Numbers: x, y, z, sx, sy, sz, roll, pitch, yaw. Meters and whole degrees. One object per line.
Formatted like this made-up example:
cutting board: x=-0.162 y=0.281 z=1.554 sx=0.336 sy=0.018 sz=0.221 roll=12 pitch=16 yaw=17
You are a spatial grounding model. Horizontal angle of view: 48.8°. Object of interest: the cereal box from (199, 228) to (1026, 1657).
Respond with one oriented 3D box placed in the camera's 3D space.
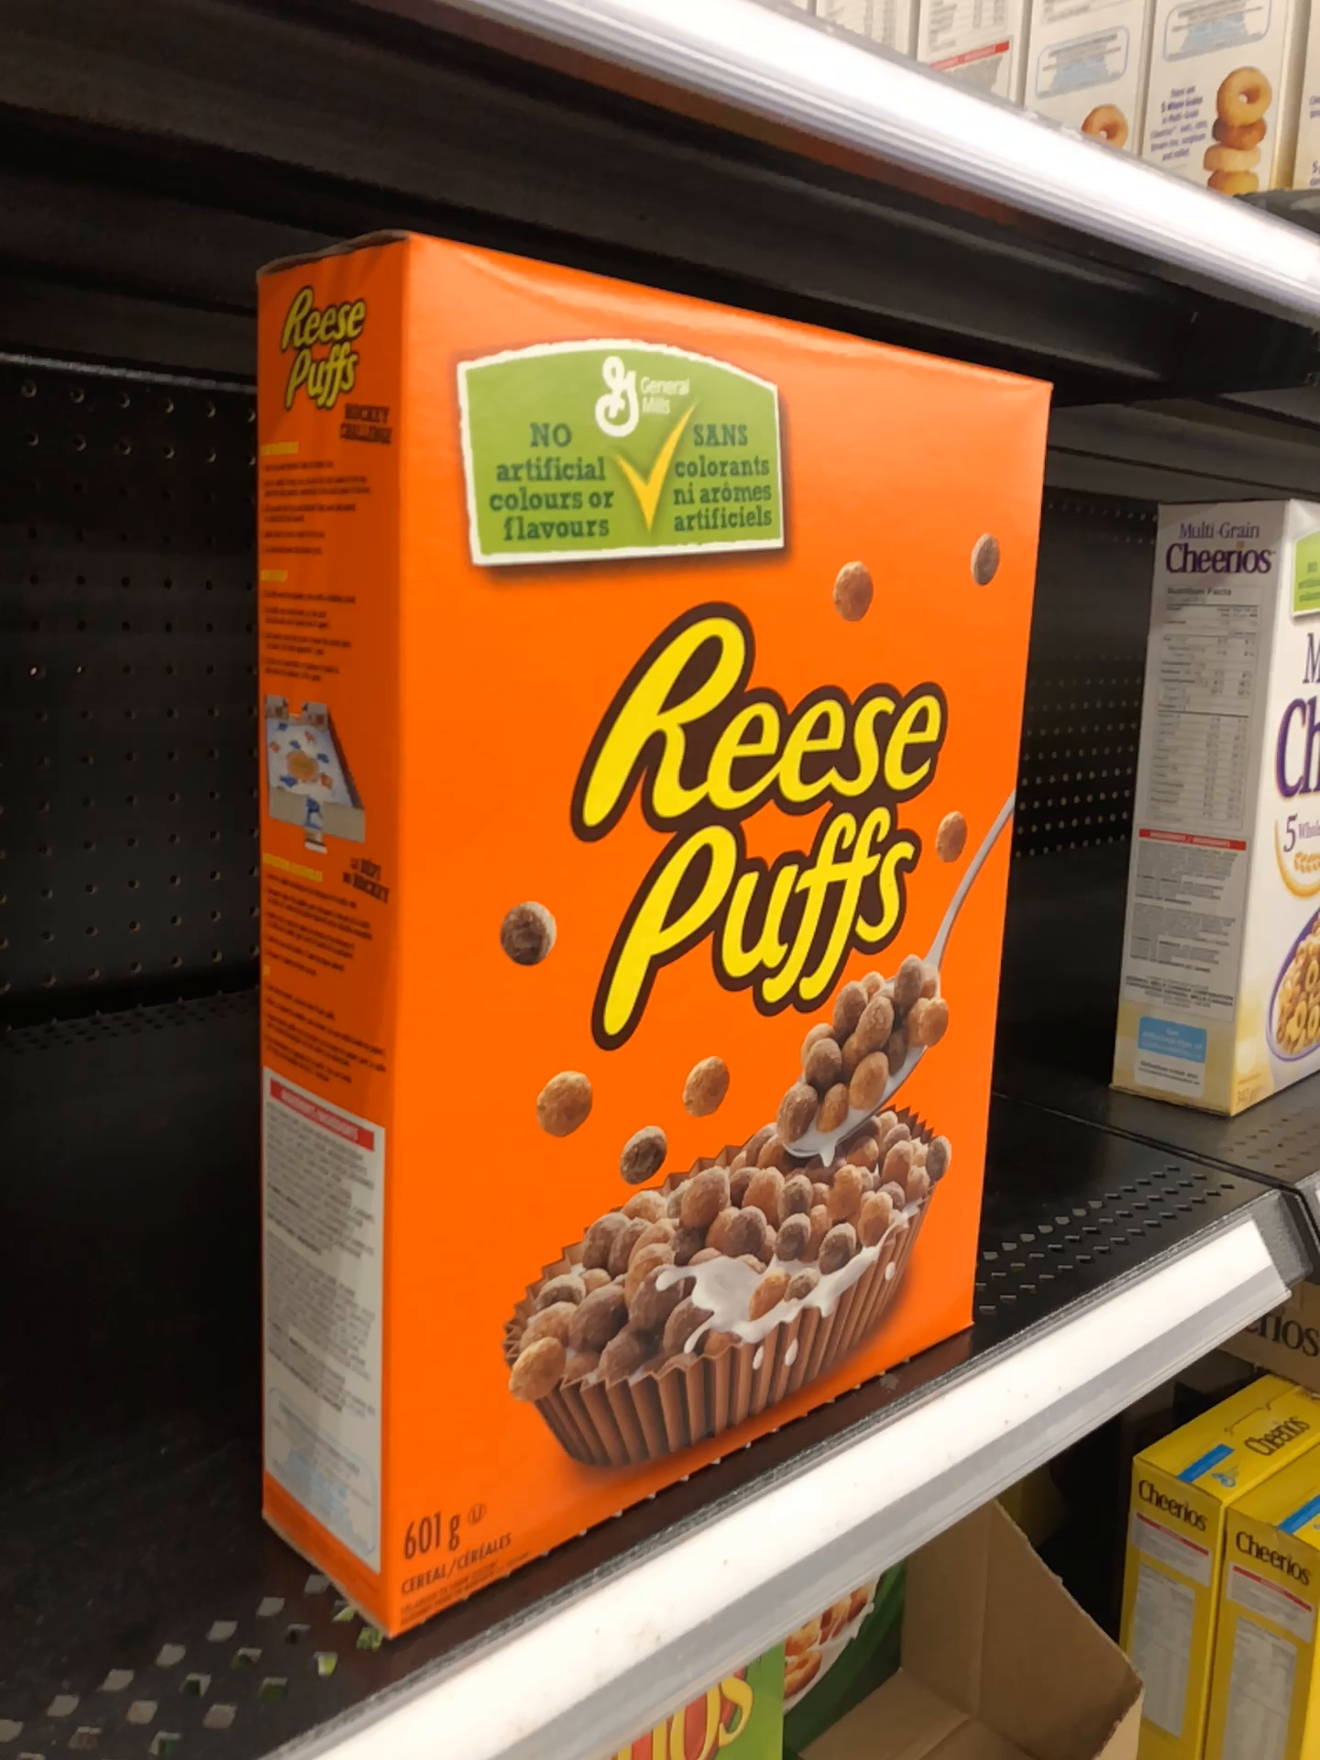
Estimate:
cereal box: x=-0.002 y=0.008 z=0.424 sx=0.240 sy=0.319 sz=0.070 roll=-8 pitch=14 yaw=-43
